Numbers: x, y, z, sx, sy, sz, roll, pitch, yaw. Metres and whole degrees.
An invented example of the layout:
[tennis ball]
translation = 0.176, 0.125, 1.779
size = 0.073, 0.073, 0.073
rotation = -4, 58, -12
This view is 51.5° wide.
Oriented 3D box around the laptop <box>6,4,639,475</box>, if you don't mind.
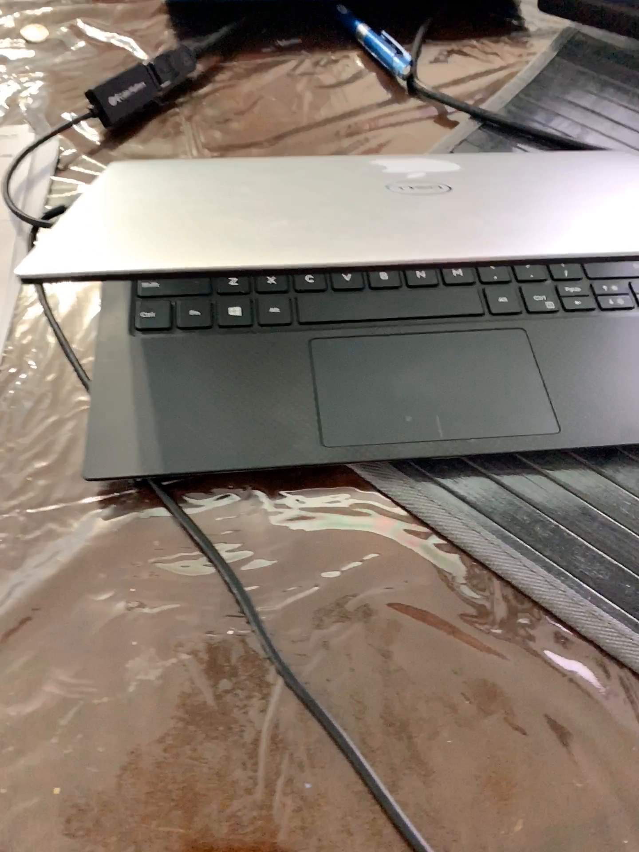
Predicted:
[laptop]
translation = 0.046, -0.089, 0.284
size = 0.290, 0.085, 0.185
rotation = -3, 57, -5
